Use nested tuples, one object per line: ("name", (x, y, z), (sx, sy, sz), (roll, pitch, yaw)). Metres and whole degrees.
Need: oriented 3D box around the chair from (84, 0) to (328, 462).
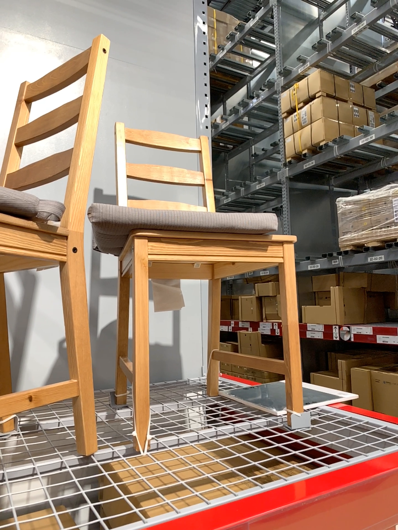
("chair", (-0.032, -0.080, 1.079), (0.440, 0.912, 0.500), (2, -7, -25))
